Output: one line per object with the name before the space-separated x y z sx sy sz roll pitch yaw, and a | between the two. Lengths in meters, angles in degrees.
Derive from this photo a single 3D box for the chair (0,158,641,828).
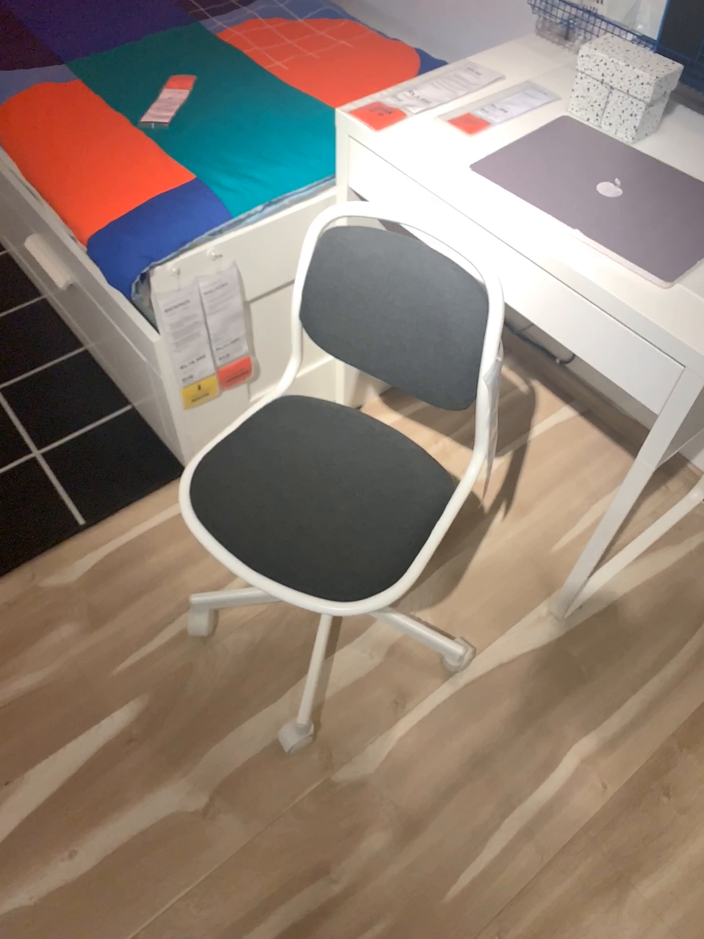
chair | -0.037 0.041 1.099 0.571 0.628 0.591 27 57 18
